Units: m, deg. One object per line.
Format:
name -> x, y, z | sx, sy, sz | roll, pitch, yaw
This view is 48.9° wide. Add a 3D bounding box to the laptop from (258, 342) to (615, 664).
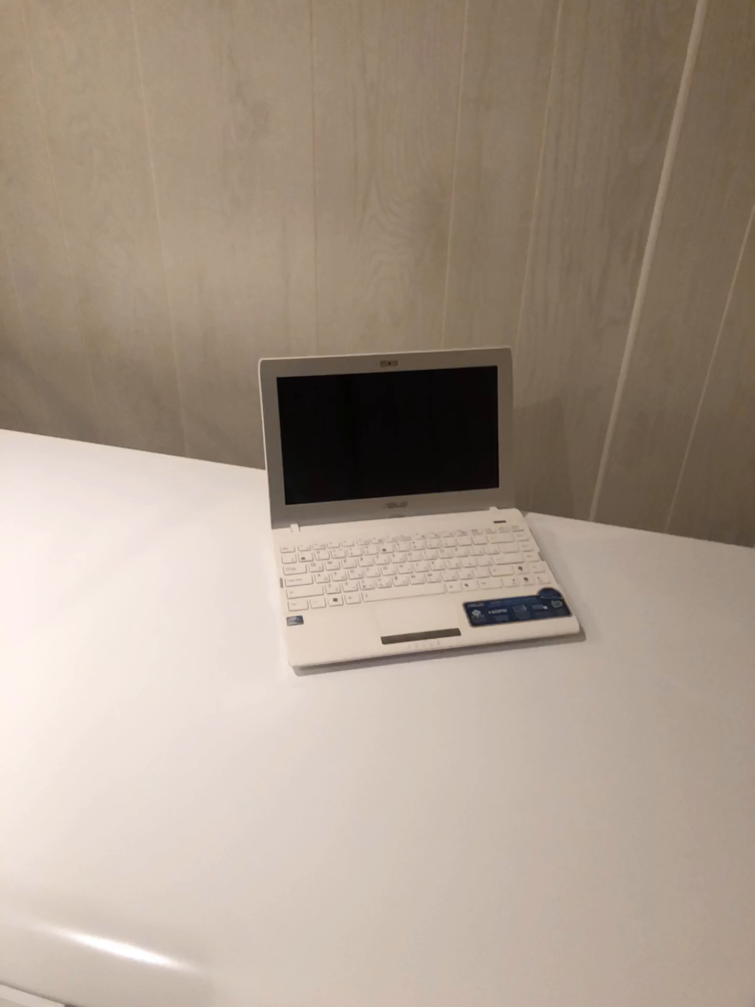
laptop -> 0.037, -0.018, 0.868 | 0.288, 0.168, 0.293 | -5, 37, -10
